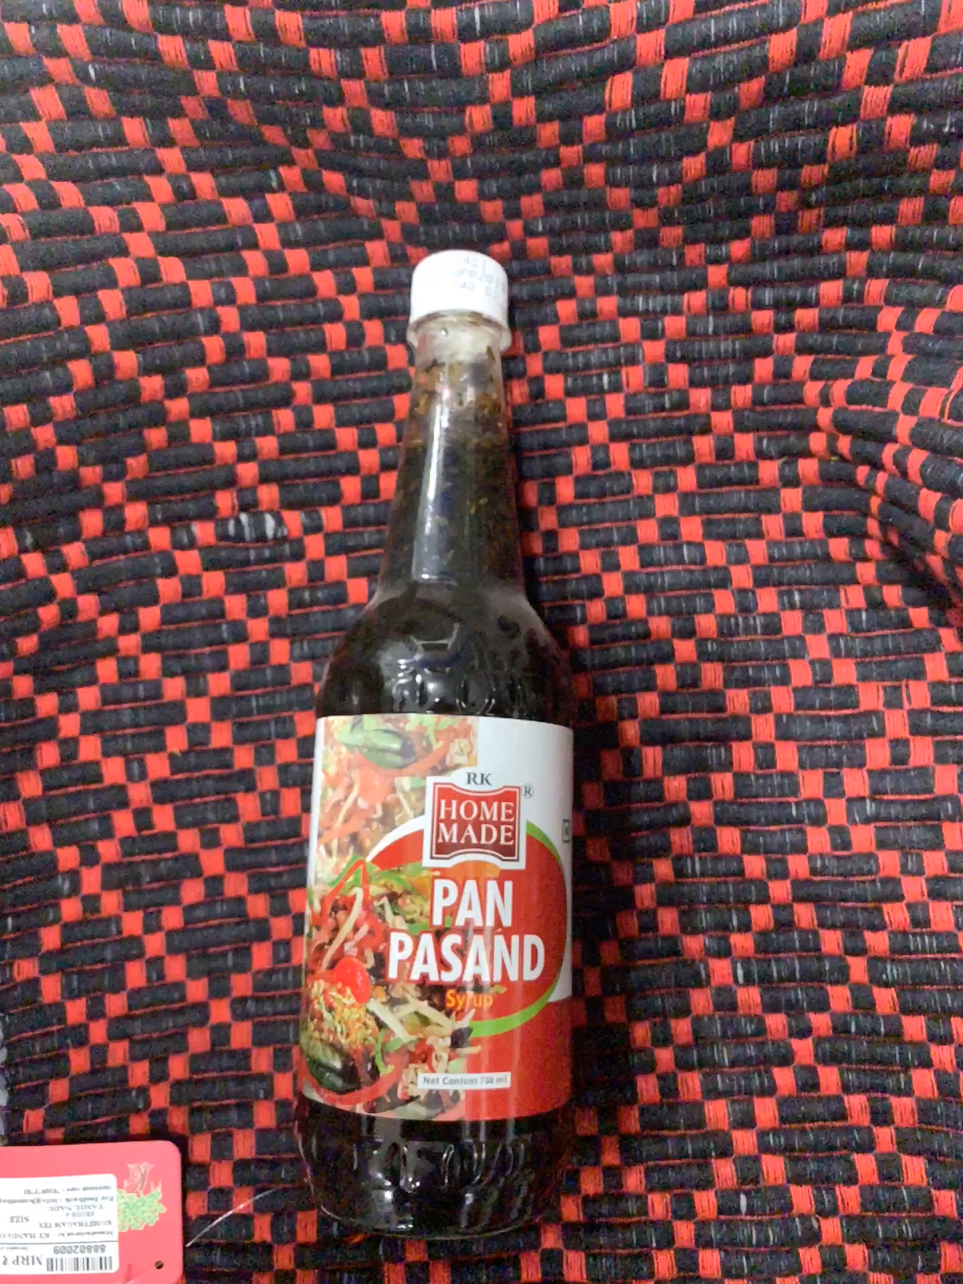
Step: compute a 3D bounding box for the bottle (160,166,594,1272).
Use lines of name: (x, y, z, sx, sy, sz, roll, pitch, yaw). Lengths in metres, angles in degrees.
bottle: (-0.015, 0.007, 0.291, 0.090, 0.080, 0.280, 1, 73, 6)
